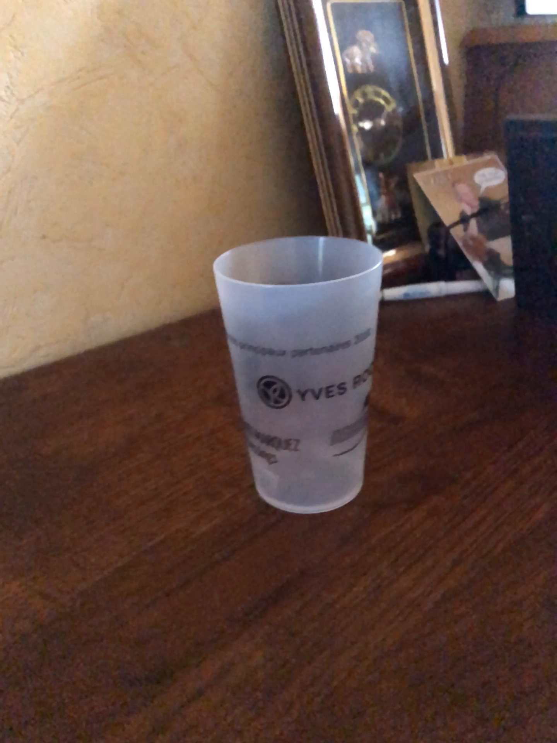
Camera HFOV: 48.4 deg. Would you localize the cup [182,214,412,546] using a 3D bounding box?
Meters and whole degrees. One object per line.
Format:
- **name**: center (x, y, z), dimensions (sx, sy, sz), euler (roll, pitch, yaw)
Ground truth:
- **cup**: center (0.008, 0.000, 0.283), dimensions (0.070, 0.119, 0.070), euler (-3, 27, 1)
